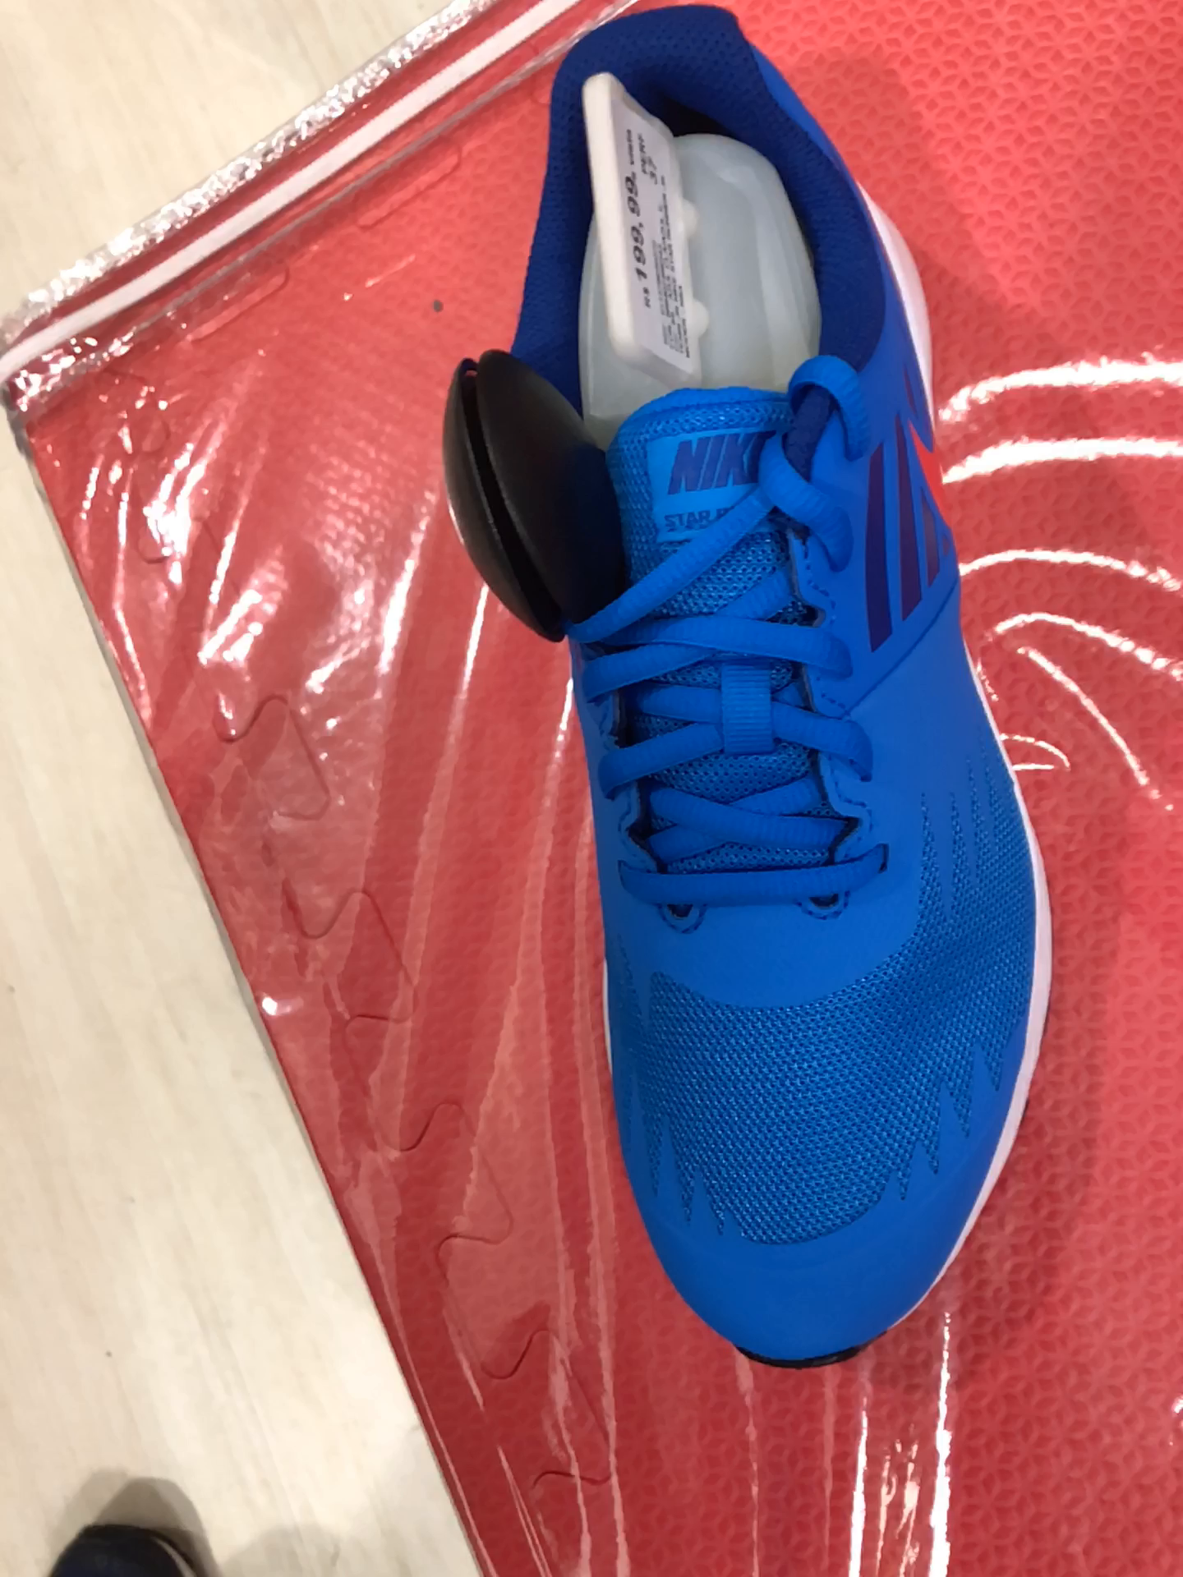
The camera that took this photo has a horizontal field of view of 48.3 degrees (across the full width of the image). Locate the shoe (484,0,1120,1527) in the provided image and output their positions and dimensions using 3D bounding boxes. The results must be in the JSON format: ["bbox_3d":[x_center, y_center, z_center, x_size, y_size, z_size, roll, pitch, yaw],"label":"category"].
[{"bbox_3d":[0.042,-0.020,0.277,0.100,0.100,0.280,-3,83,15],"label":"shoe"}]
